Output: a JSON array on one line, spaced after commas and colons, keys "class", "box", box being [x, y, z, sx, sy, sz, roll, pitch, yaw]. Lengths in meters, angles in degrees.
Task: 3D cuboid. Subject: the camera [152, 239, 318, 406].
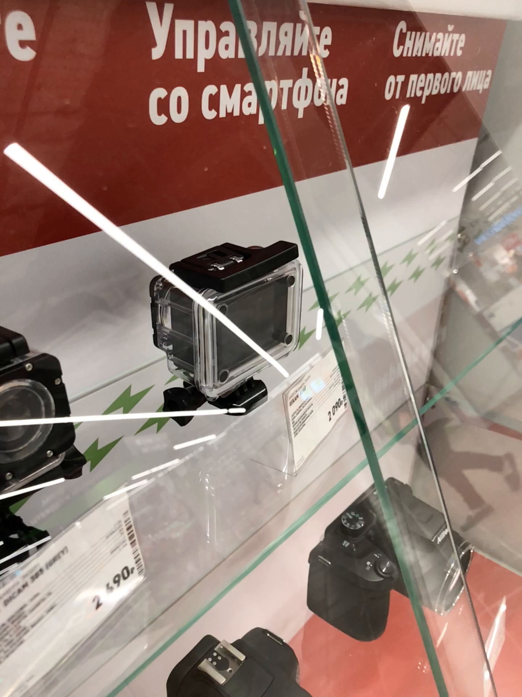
[{"class": "camera", "box": [-0.011, -0.017, 0.289, 0.040, 0.053, 0.076, 21, 33, 33]}]
